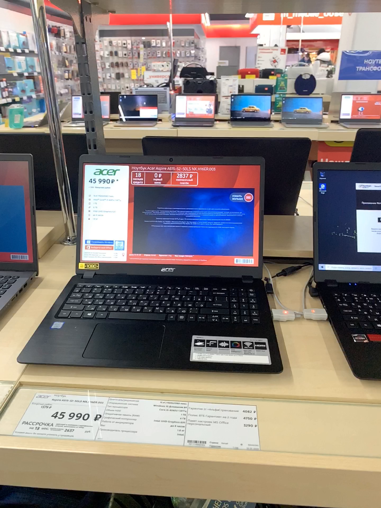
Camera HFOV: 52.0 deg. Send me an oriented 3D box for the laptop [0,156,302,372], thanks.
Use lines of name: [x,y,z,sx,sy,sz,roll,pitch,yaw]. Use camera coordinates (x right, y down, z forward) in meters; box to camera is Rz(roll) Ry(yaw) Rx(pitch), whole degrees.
laptop: [-0.048,-0.021,0.655,0.368,0.208,0.366,1,26,3]
